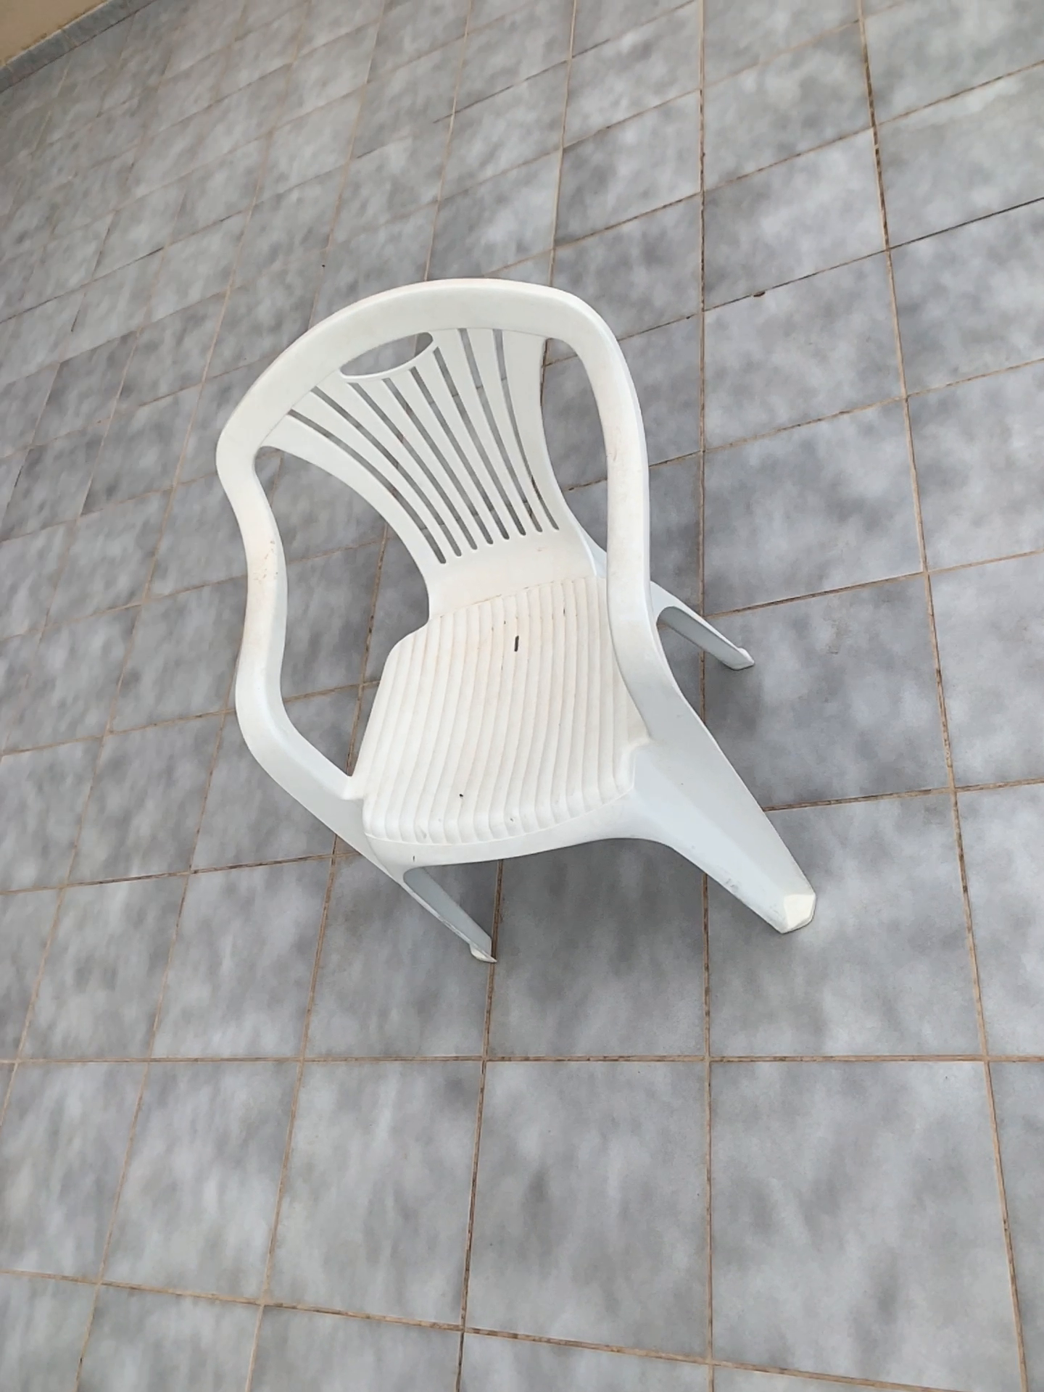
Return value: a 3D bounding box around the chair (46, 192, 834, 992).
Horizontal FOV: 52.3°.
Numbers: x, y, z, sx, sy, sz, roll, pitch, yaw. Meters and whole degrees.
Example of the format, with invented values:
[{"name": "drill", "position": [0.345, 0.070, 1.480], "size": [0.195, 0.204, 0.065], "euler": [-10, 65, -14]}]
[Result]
[{"name": "chair", "position": [-0.031, -0.036, 1.264], "size": [0.572, 0.667, 0.561], "euler": [-13, 57, 24]}]
